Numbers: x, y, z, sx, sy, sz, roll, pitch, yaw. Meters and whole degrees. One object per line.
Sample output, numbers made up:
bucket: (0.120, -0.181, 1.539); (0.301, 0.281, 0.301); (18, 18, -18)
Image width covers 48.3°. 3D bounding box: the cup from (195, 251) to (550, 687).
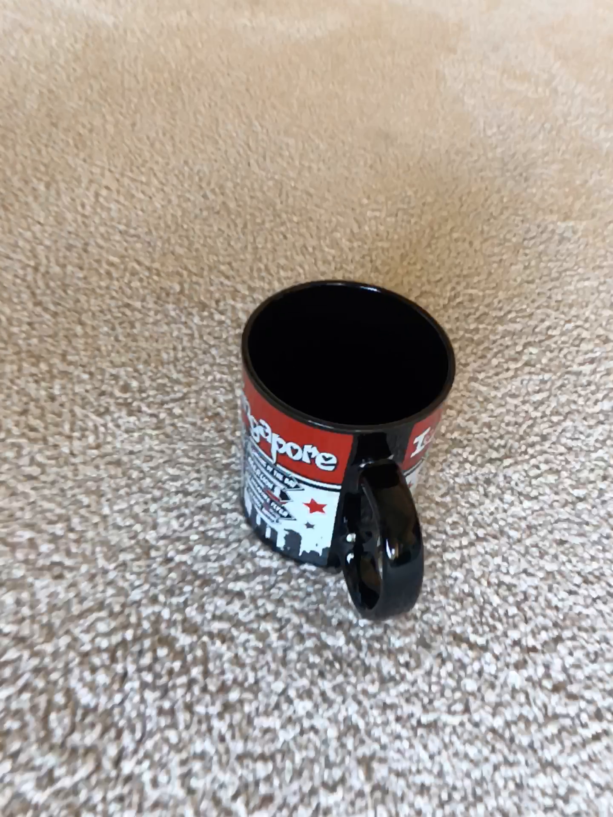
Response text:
cup: (0.009, 0.017, 0.259); (0.090, 0.090, 0.131); (-4, 47, -11)
